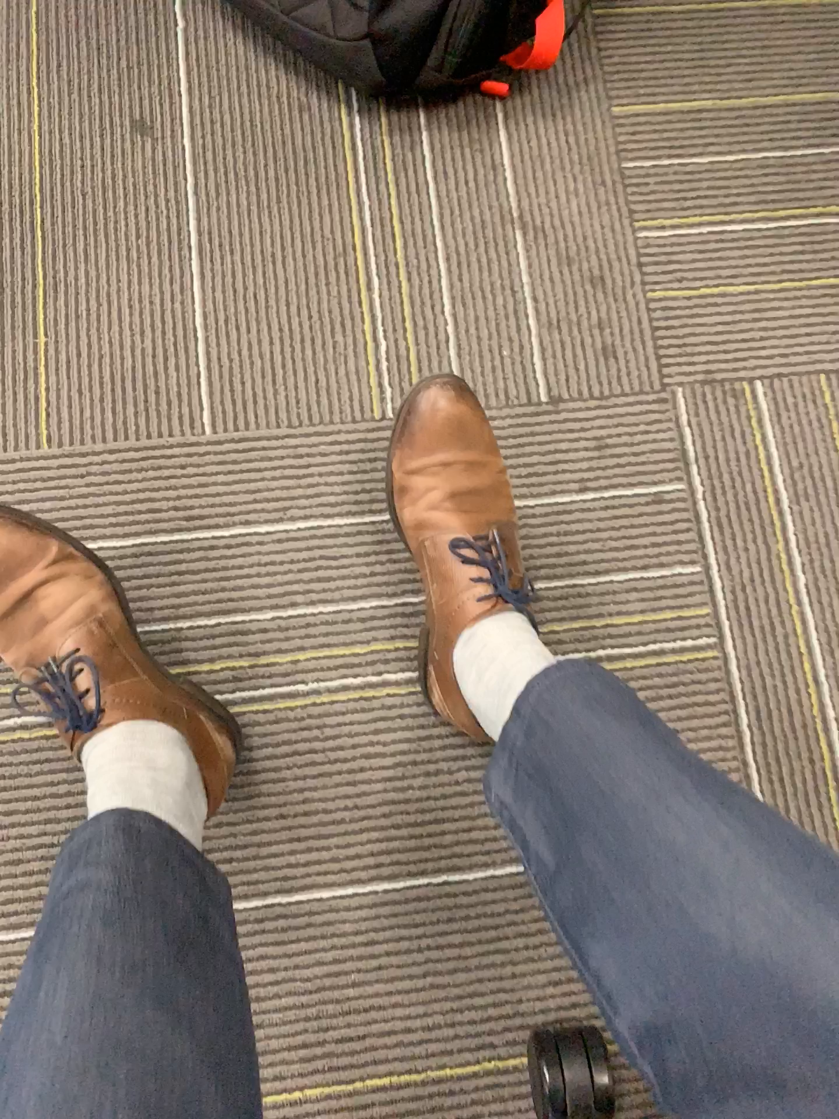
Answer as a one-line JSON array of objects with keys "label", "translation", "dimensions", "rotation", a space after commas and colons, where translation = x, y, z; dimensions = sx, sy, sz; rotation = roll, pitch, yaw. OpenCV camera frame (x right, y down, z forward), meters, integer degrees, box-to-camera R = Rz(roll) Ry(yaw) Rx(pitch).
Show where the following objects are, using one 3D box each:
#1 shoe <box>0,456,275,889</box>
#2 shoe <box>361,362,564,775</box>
[{"label": "shoe", "translation": [-0.233, 0.077, 0.613], "dimensions": [0.120, 0.084, 0.271], "rotation": [-31, 101, 3]}, {"label": "shoe", "translation": [0.033, 0.002, 0.643], "dimensions": [0.103, 0.074, 0.281], "rotation": [-9, 97, -25]}]
